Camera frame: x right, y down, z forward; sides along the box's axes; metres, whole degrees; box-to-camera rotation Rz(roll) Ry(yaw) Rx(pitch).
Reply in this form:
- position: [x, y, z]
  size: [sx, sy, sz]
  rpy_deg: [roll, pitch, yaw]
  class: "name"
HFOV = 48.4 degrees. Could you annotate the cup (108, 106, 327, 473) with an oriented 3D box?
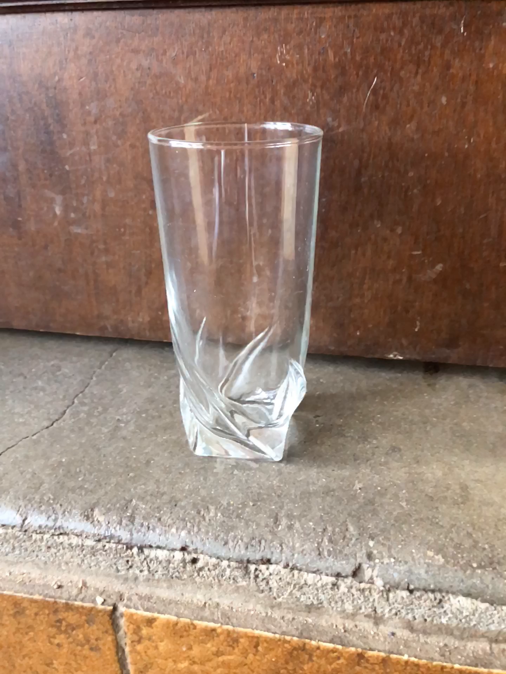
- position: [-0.008, -0.020, 0.239]
  size: [0.070, 0.139, 0.060]
  rpy_deg: [3, 26, 8]
  class: "cup"
